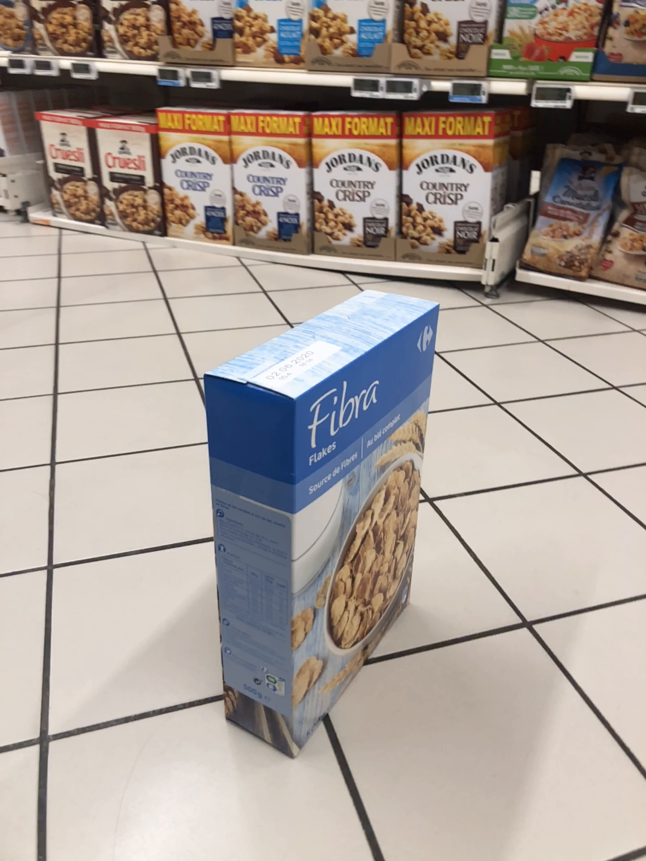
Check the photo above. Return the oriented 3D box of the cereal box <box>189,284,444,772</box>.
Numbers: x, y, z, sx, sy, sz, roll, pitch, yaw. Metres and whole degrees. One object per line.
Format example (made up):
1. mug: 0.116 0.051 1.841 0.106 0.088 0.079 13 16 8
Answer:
1. cereal box: 0.004 0.063 0.523 0.070 0.288 0.201 16 31 26
